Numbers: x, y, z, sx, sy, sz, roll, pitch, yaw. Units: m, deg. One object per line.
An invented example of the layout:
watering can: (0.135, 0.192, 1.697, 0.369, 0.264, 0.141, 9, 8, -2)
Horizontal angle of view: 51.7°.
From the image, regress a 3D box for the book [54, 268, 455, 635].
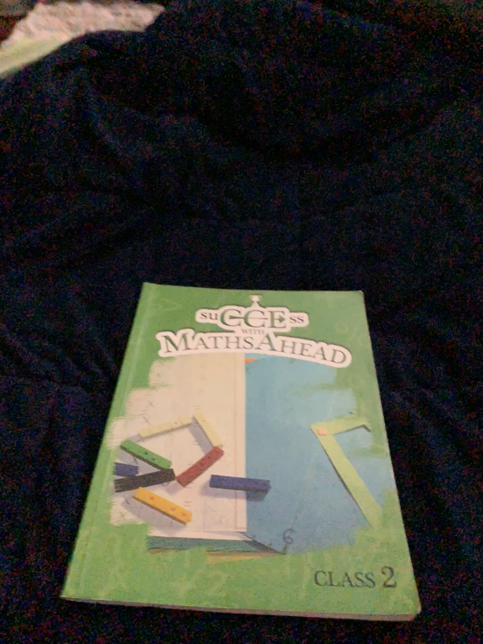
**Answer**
book: (0.014, 0.069, 0.384, 0.230, 0.020, 0.281, 3, 49, 0)
